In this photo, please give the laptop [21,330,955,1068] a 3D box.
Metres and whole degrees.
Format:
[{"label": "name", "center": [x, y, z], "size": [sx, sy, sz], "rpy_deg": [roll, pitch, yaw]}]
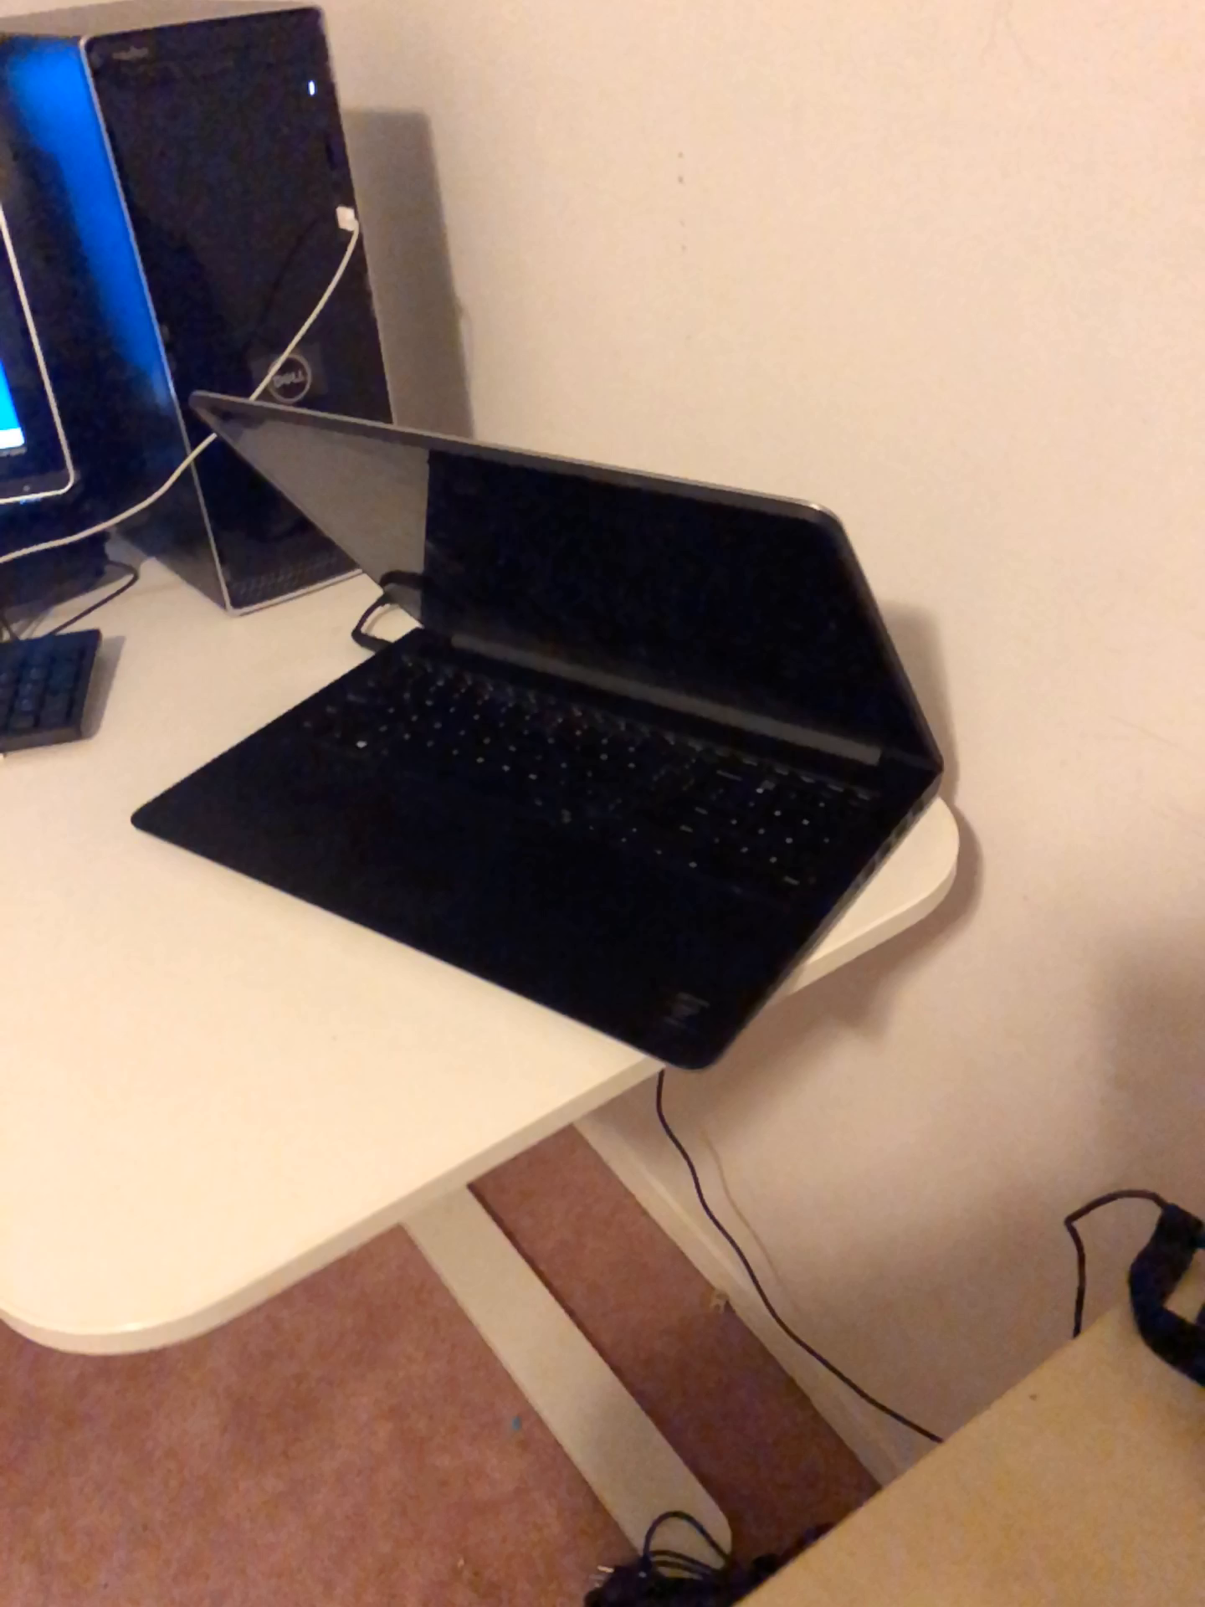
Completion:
[{"label": "laptop", "center": [-0.052, -0.087, 0.680], "size": [0.374, 0.207, 0.251], "rpy_deg": [19, 42, 31]}]
